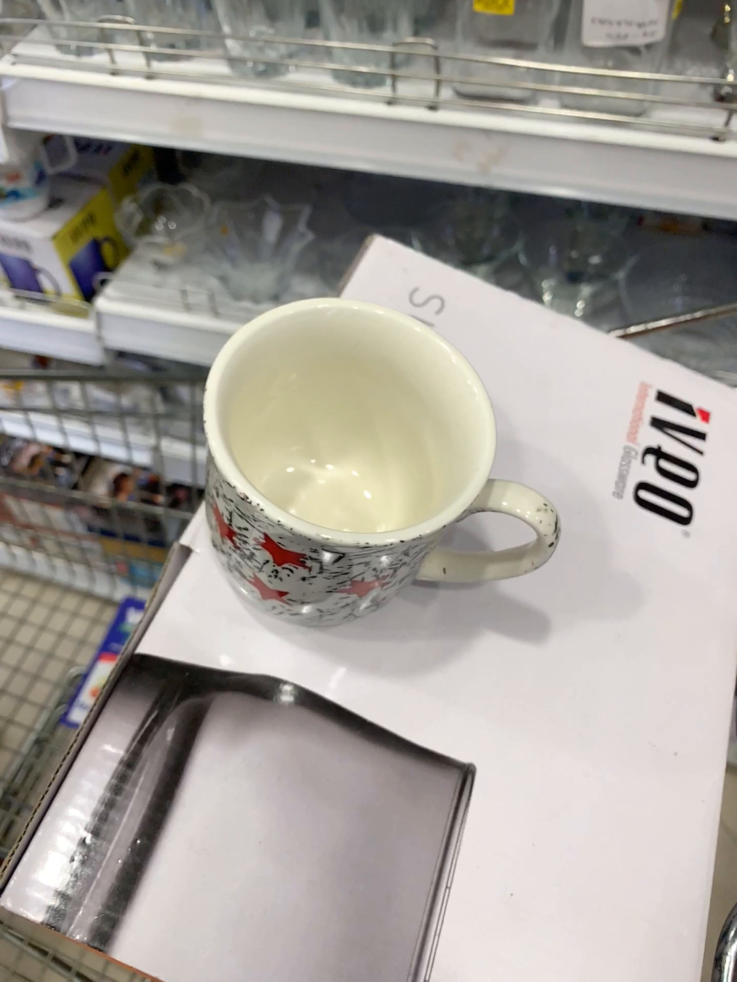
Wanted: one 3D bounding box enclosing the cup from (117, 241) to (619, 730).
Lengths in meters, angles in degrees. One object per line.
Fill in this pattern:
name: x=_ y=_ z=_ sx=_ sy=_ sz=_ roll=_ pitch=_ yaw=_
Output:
cup: x=-0.003 y=0.003 z=0.206 sx=0.100 sy=0.070 sz=0.070 roll=28 pitch=59 yaw=-4
